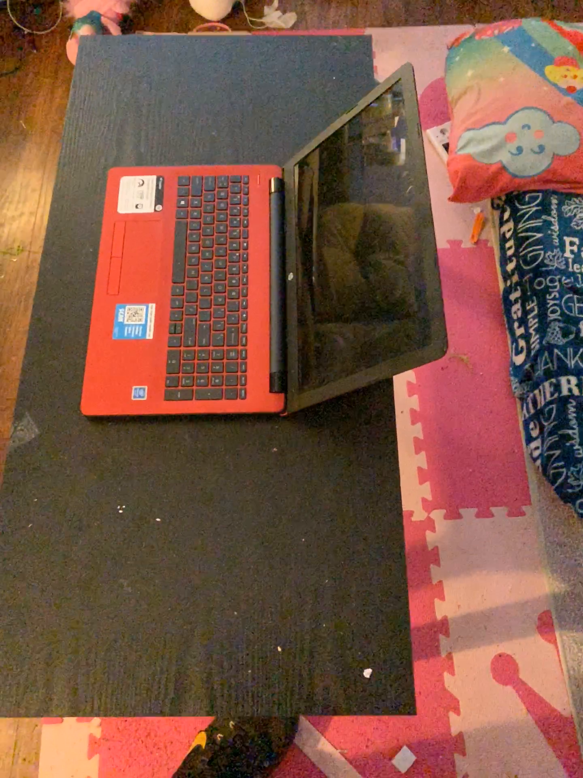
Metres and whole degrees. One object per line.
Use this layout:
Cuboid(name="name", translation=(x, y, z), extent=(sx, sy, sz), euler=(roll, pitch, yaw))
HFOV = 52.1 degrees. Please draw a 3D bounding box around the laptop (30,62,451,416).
Cuboid(name="laptop", translation=(-0.056, -0.178, 0.725), extent=(0.409, 0.170, 0.376), euler=(-2, 69, 0))
